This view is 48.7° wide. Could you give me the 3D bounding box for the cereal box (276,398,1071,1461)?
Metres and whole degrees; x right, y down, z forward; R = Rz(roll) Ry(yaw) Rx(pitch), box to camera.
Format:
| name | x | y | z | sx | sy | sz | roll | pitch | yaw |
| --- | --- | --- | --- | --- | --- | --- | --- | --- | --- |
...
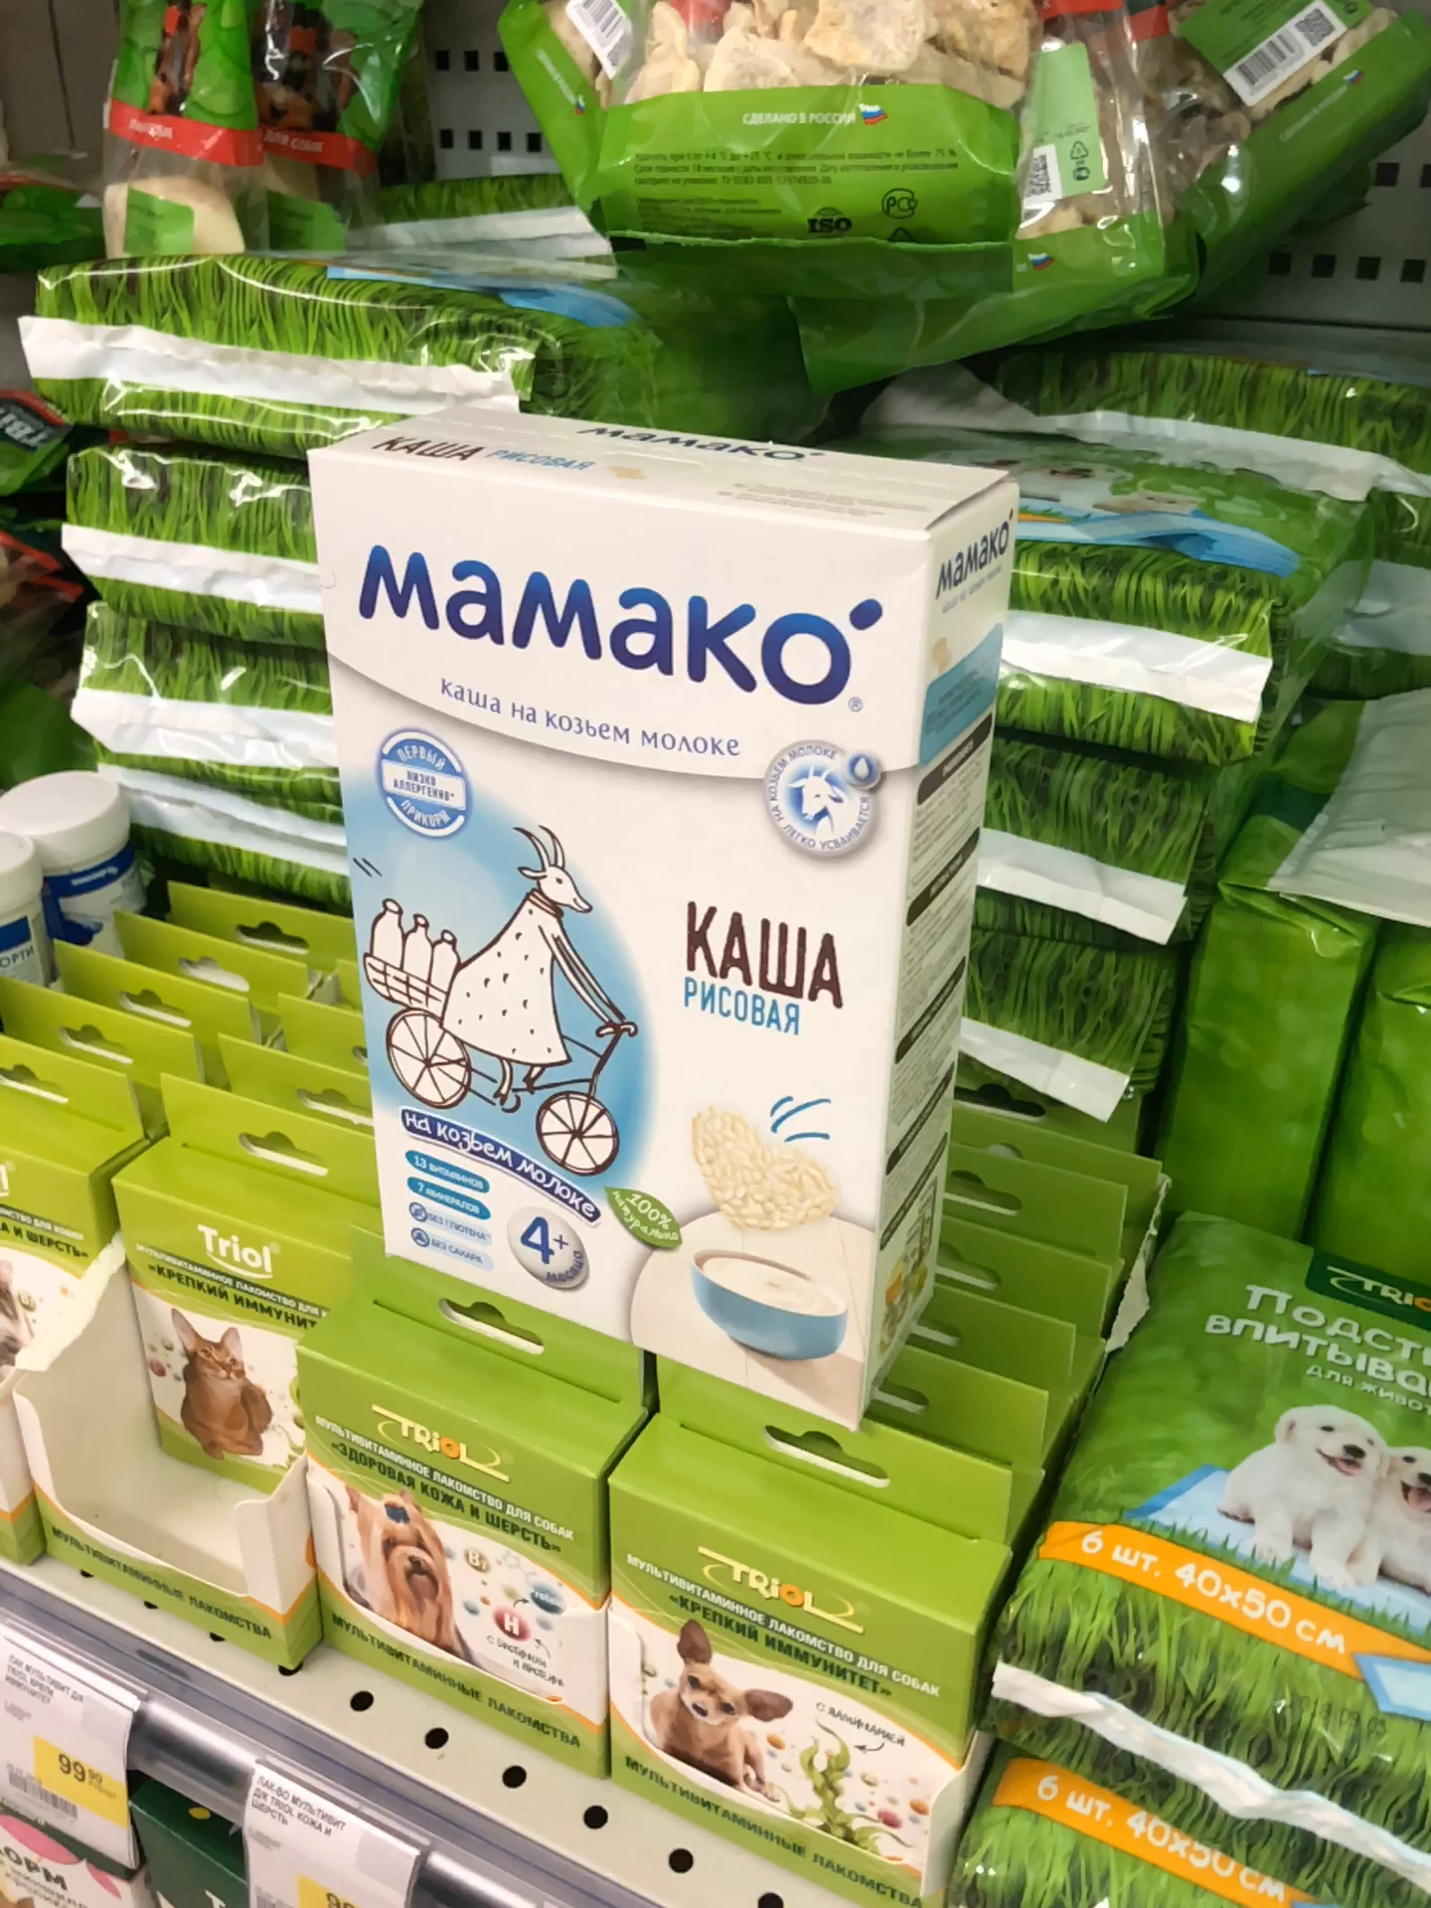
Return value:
| name | x | y | z | sx | sy | sz | roll | pitch | yaw |
| --- | --- | --- | --- | --- | --- | --- | --- | --- | --- |
| cereal box | -0.011 | -0.007 | 0.347 | 0.140 | 0.199 | 0.060 | 15 | 30 | 24 |
